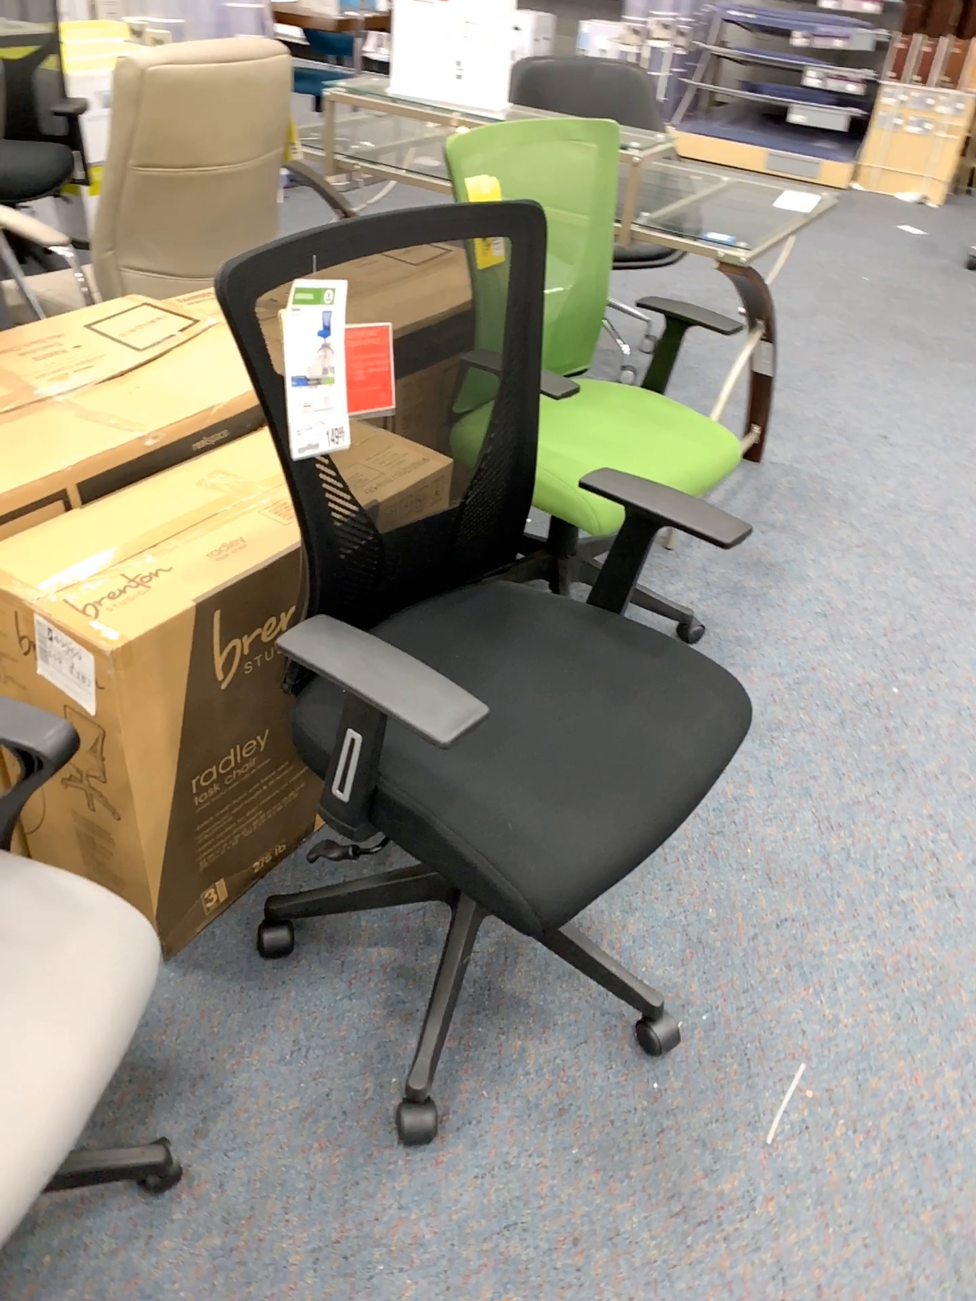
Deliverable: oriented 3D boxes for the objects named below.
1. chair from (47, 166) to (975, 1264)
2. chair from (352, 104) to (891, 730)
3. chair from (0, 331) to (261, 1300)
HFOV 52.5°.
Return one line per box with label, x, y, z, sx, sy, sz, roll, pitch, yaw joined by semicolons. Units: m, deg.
chair;0.044;0.032;1.237;0.679;0.974;0.683;30;43;28
chair;0.214;-0.514;2.039;0.709;0.934;0.673;30;43;28
chair;-0.694;0.310;0.882;0.678;0.874;0.624;18;39;16
